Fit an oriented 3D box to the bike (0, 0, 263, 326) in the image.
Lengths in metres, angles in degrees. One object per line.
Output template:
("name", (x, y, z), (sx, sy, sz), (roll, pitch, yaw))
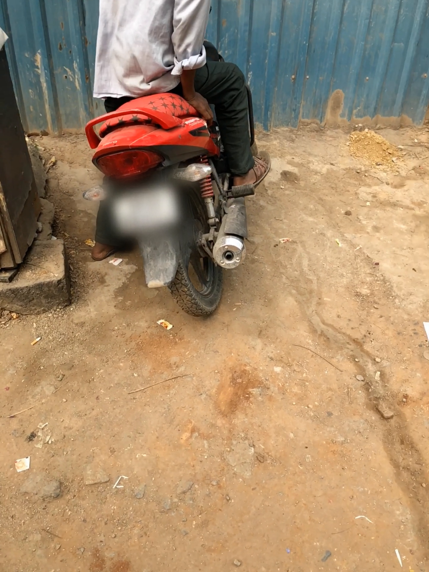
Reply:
("bike", (-0.261, -0.906, 2.079), (0.734, 1.129, 1.641), (2, 40, 0))
